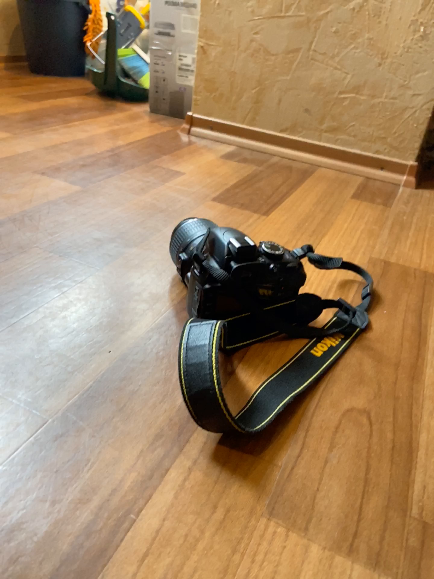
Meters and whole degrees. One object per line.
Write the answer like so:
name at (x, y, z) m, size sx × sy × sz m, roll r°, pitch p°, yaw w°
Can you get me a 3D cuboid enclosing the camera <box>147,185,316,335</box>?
camera at (0.005, -0.043, 0.502) m, size 0.121 × 0.090 × 0.162 m, roll -8°, pitch 35°, yaw -24°
